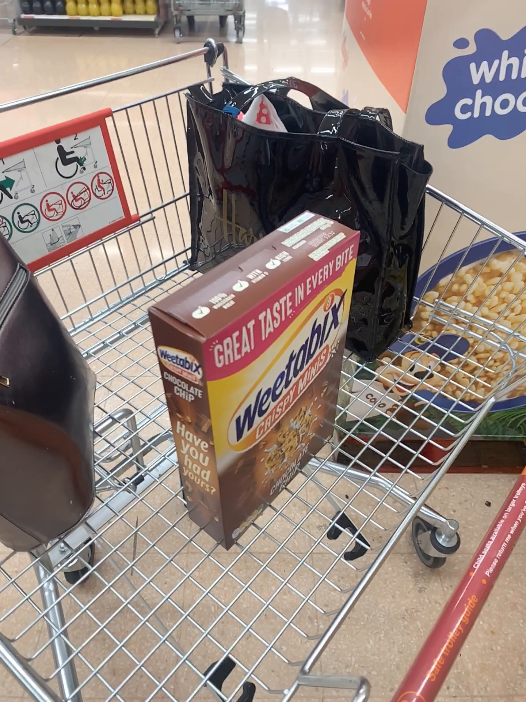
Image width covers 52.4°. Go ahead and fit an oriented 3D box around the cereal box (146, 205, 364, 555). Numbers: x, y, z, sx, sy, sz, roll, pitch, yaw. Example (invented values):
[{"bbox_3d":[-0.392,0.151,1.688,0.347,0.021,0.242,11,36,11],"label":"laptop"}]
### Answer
[{"bbox_3d":[0.001,0.033,0.505,0.060,0.277,0.191,28,48,29],"label":"cereal box"}]
